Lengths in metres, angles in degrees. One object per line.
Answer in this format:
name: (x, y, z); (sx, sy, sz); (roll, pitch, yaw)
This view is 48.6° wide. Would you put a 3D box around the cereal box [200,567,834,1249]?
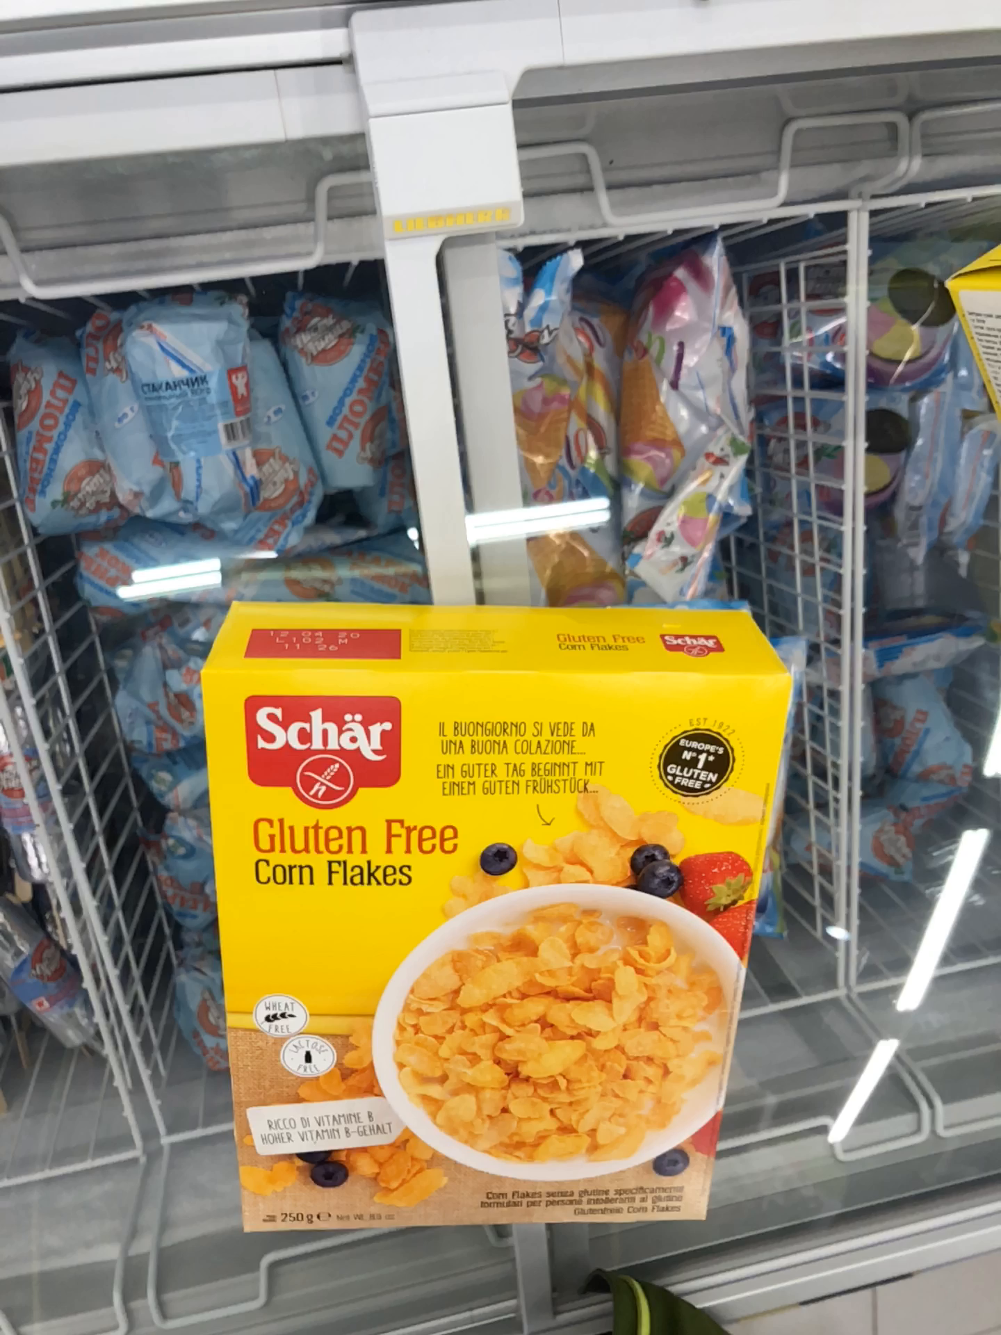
cereal box: (-0.002, 0.099, 0.437); (0.200, 0.080, 0.260); (1, 114, -6)
